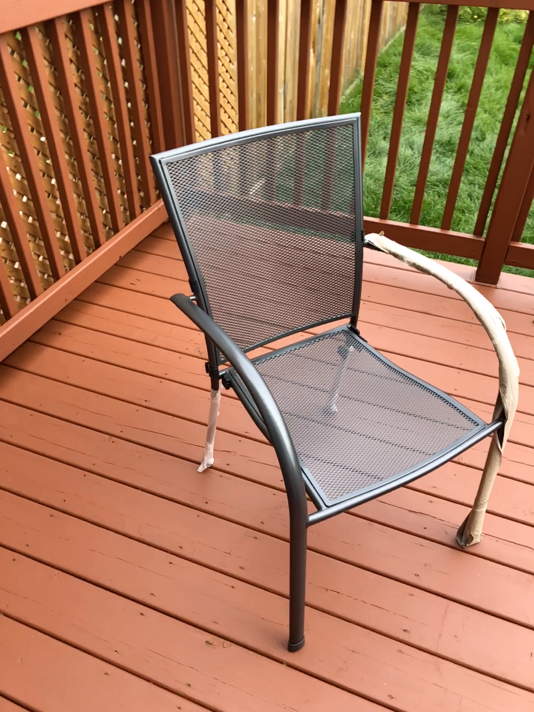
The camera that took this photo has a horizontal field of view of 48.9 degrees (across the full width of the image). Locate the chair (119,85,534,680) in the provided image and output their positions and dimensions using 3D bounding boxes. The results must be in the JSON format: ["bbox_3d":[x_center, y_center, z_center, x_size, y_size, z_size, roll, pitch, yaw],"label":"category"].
[{"bbox_3d":[0.159,0.039,1.252,0.601,0.927,0.652,-21,44,-23],"label":"chair"}]
